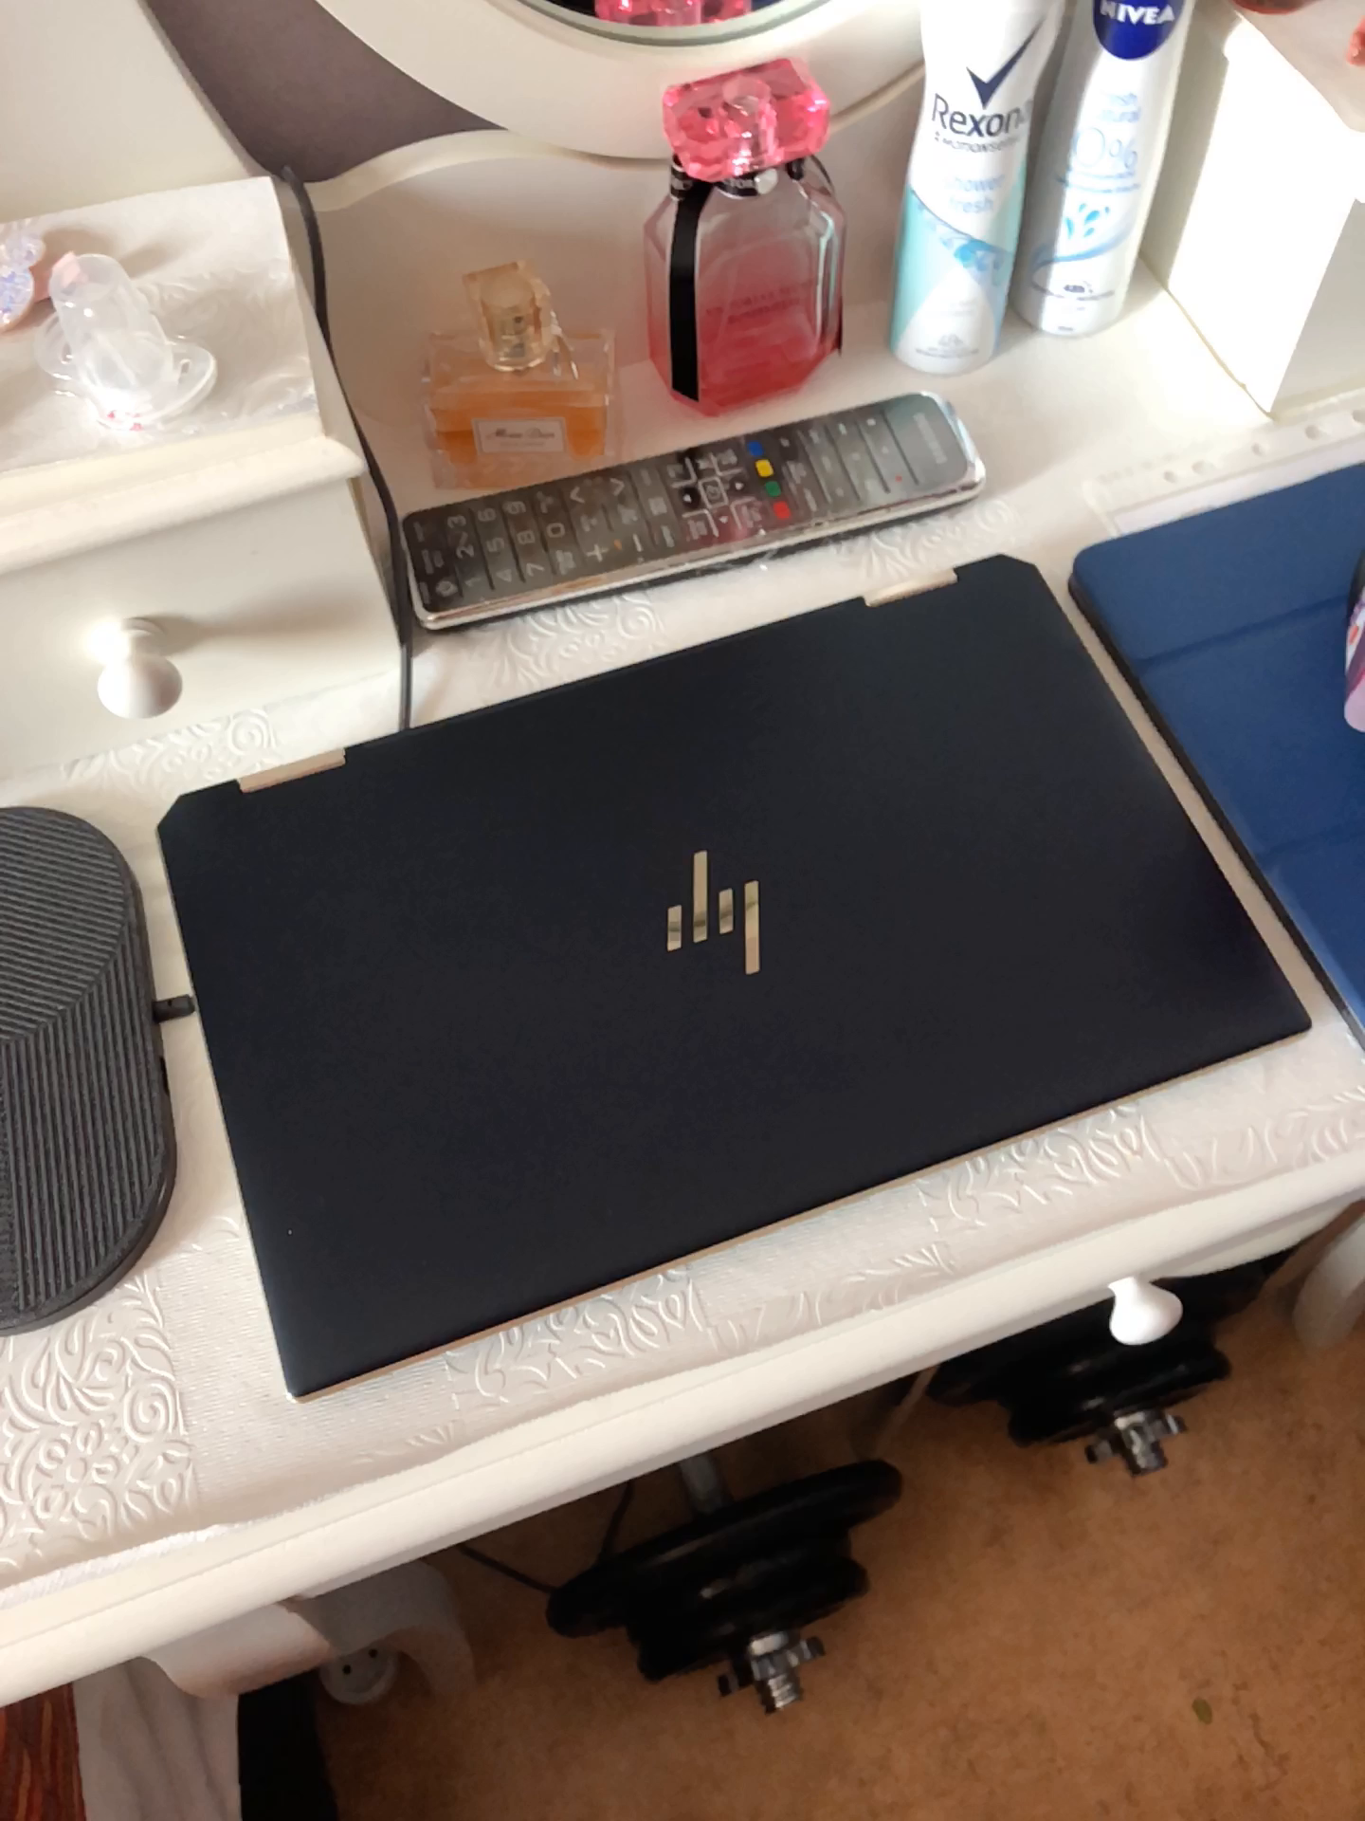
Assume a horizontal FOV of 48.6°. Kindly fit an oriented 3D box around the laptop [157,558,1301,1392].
[{"bbox_3d":[0.013,0.000,0.404,0.267,0.007,0.161,-17,66,-15],"label":"laptop"}]
